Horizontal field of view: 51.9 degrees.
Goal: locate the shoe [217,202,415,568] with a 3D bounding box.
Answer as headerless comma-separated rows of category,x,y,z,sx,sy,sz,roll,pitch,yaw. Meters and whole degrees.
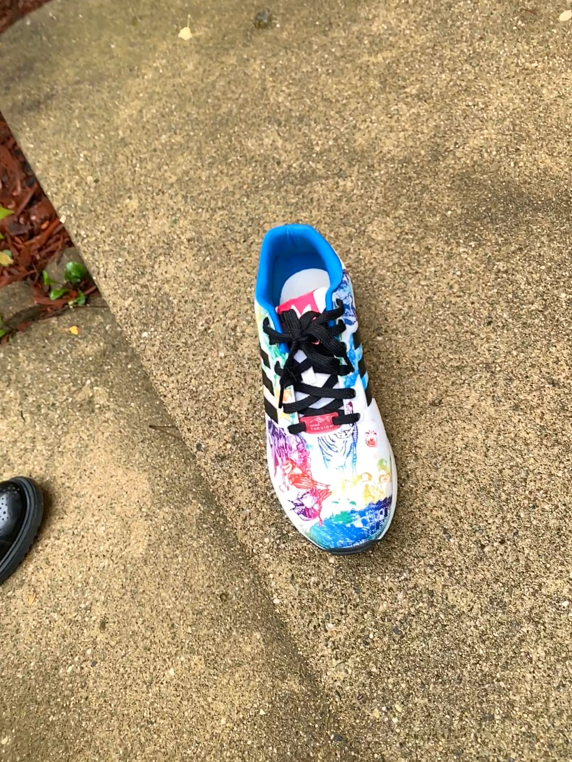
shoe,0.019,0.002,0.451,0.110,0.104,0.246,-10,62,11
